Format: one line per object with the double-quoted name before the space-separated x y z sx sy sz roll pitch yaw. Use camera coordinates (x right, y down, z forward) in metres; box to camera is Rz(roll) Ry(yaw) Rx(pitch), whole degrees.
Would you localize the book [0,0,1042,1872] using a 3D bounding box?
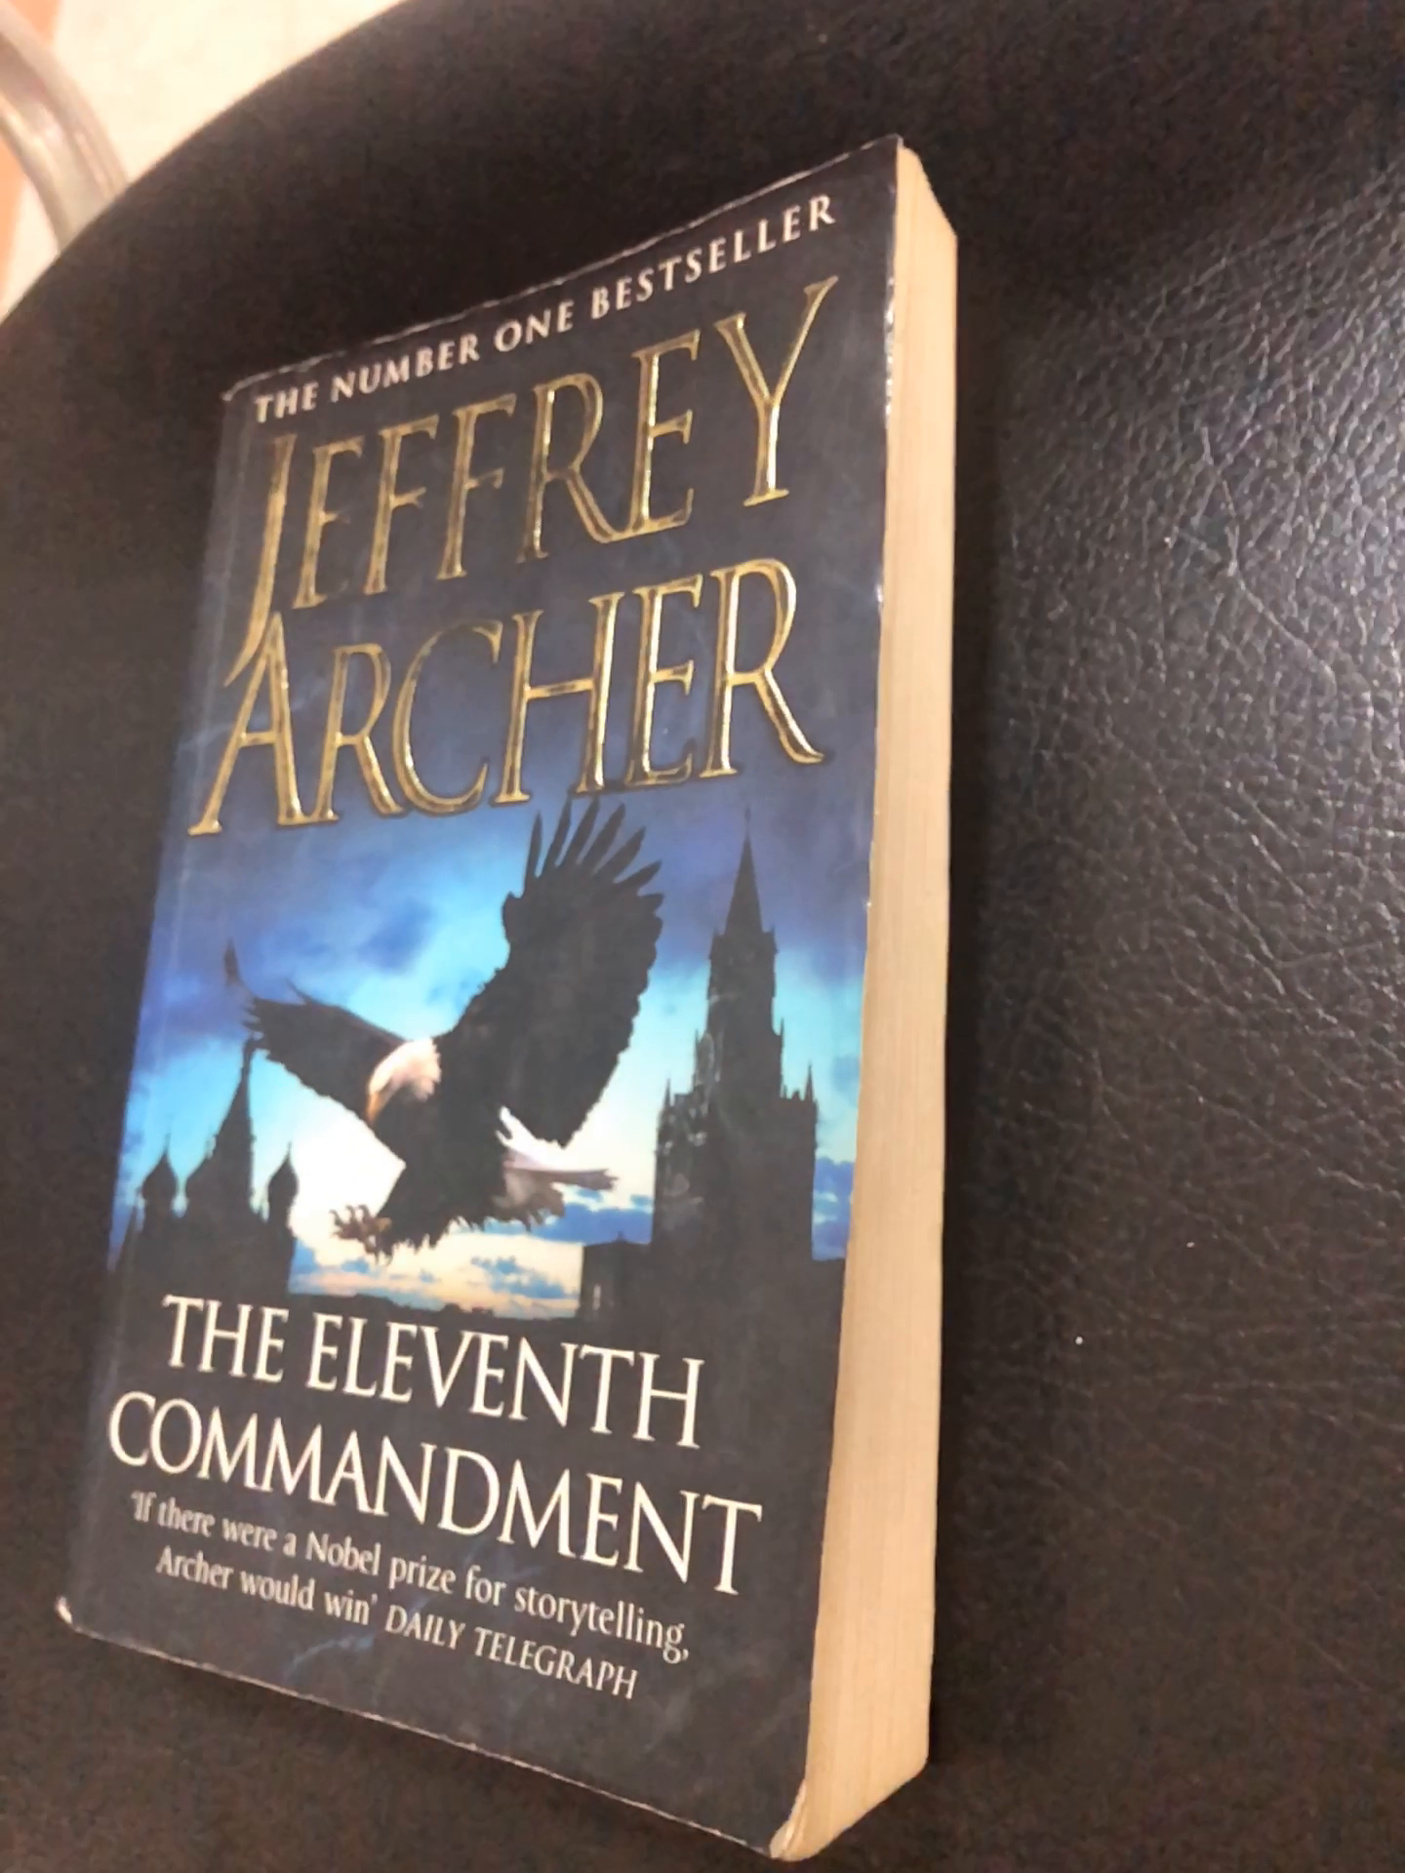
"book" -0.028 -0.007 0.212 0.130 0.040 0.200 -2 78 31
